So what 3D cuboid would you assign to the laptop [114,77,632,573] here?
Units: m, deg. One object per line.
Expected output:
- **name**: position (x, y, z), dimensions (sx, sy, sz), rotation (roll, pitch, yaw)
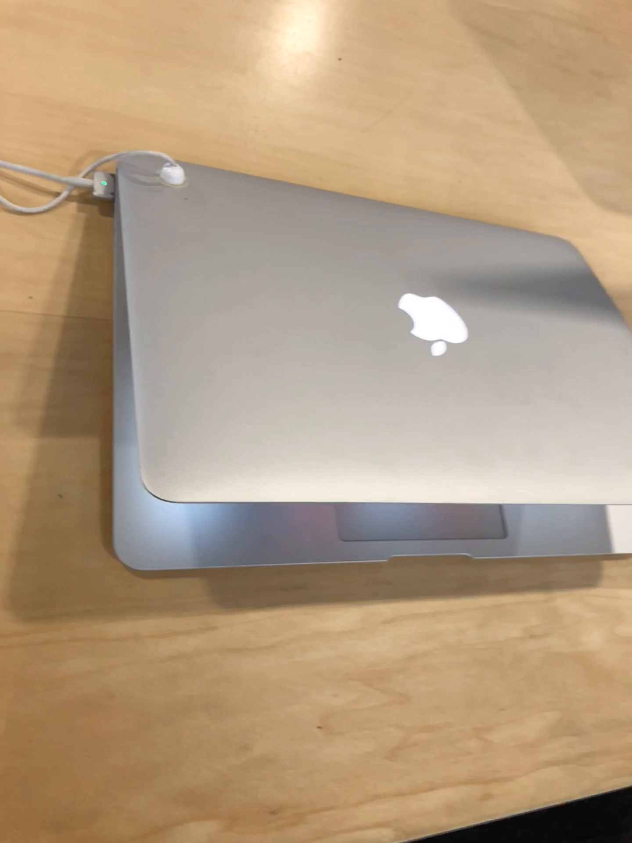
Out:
- **laptop**: position (0.061, -0.038, 0.371), dimensions (0.315, 0.067, 0.215), rotation (3, 66, -23)
